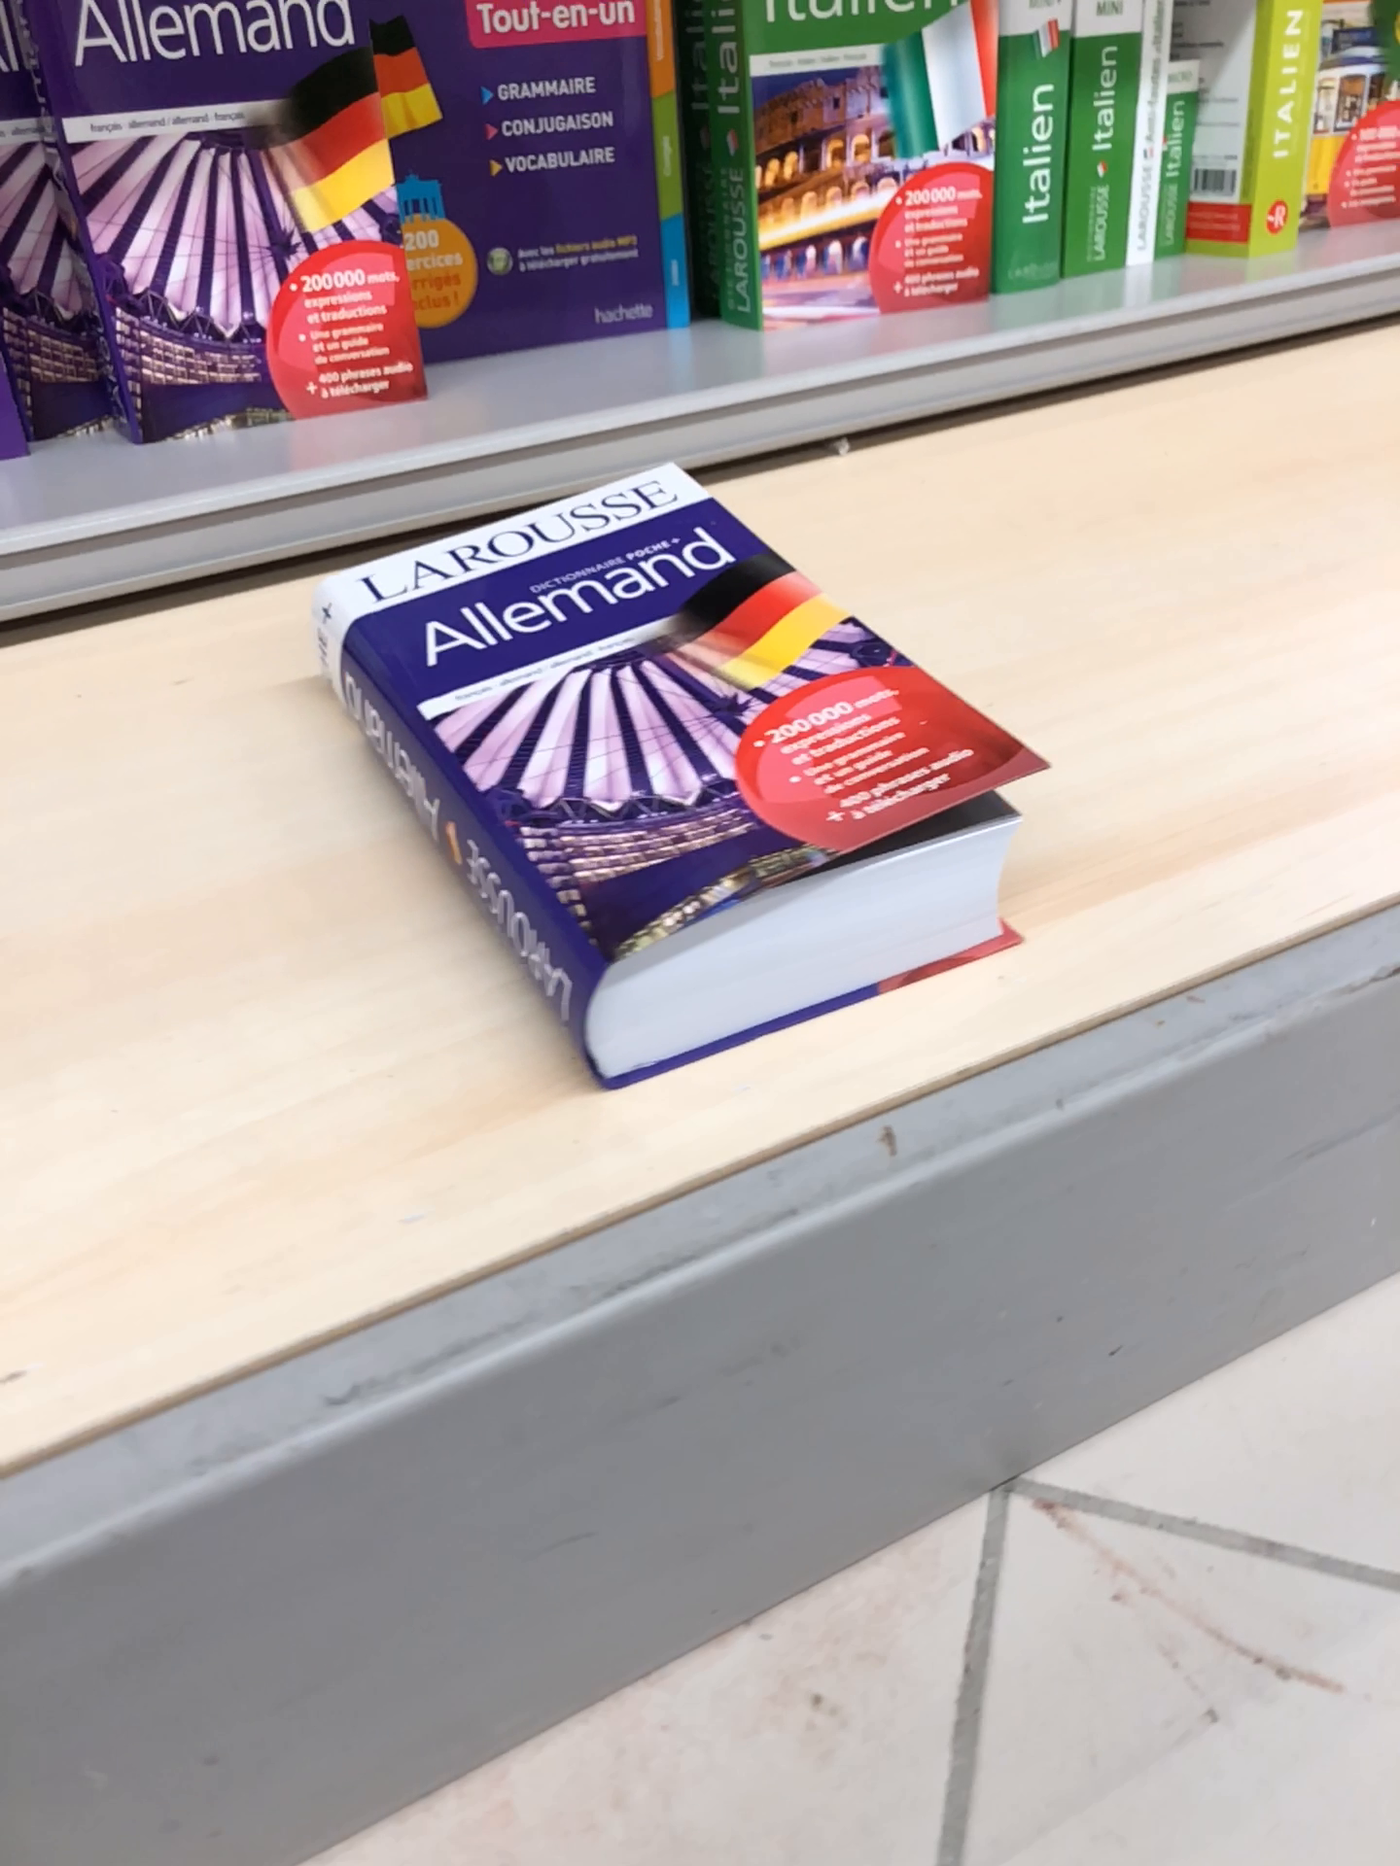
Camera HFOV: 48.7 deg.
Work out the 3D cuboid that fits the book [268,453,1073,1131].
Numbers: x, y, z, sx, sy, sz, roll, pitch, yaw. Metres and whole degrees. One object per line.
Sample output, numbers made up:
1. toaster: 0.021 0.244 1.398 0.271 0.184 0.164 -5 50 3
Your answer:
1. book: -0.017 -0.049 0.380 0.120 0.050 0.181 -18 45 -22
